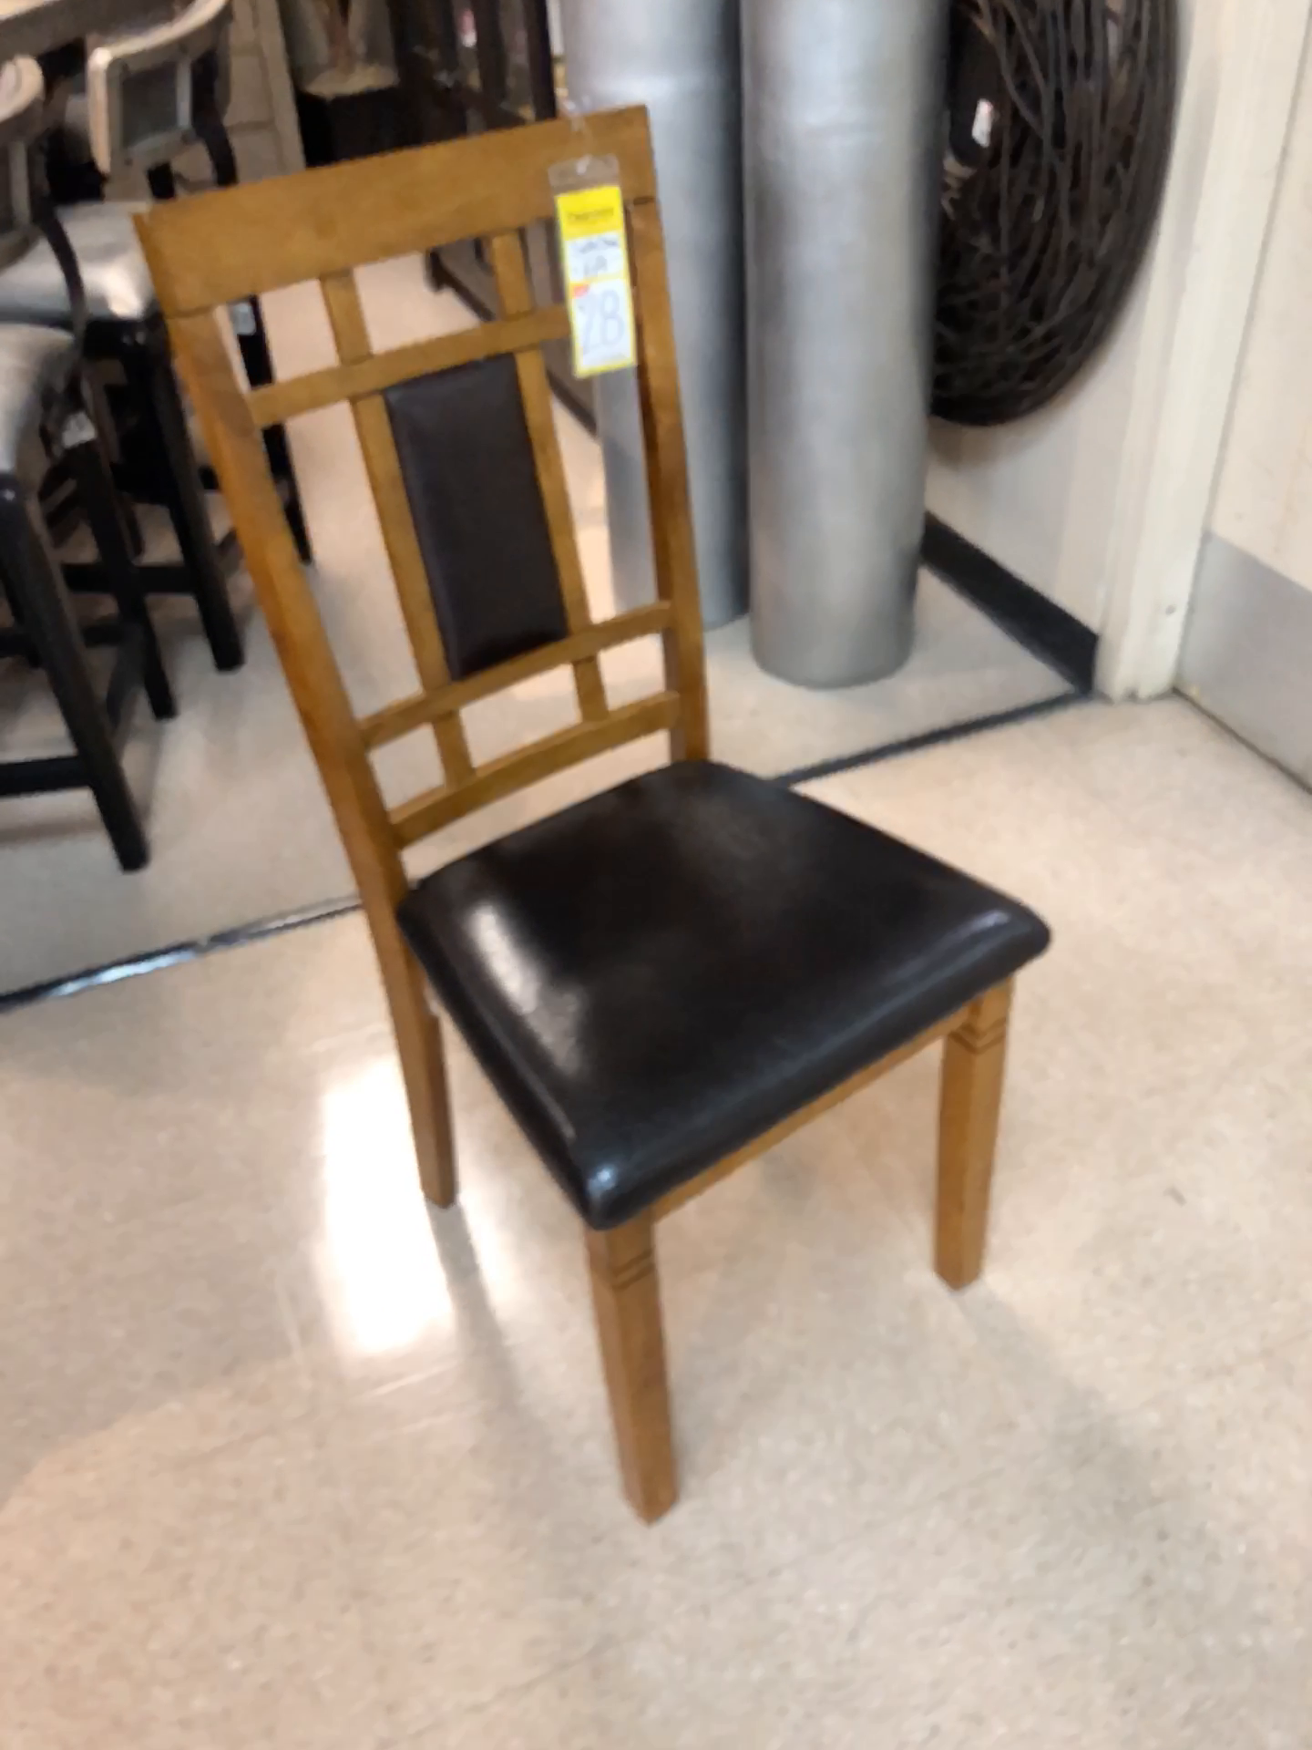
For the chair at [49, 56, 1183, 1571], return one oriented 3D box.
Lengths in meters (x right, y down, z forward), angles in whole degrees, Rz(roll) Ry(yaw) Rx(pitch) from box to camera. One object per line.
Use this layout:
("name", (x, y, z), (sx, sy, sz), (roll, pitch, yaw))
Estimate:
("chair", (-0.026, -0.021, 1.157), (0.451, 0.993, 0.503), (-27, 45, -27))
